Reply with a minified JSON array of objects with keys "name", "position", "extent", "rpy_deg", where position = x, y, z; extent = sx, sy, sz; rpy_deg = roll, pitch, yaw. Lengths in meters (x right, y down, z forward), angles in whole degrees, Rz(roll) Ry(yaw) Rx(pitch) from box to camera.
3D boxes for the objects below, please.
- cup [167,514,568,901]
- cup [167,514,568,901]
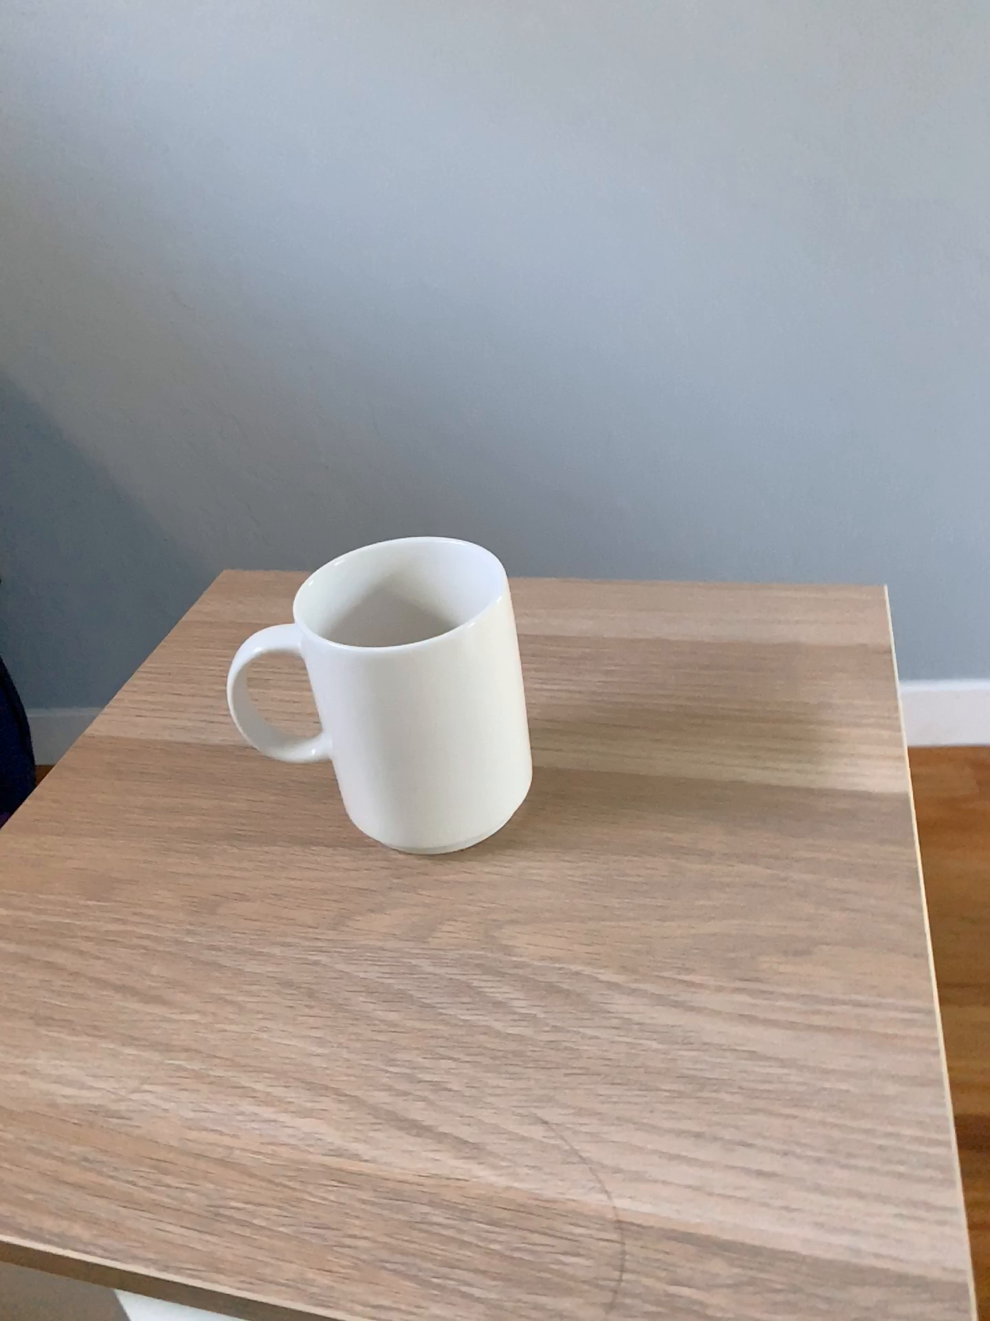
[{"name":"cup","position":[-0.047,0.022,0.445],"extent":[0.140,0.129,0.082],"rpy_deg":[-7,35,2]},{"name":"cup","position":[-0.047,0.022,0.445],"extent":[0.140,0.129,0.082],"rpy_deg":[-7,35,2]}]
